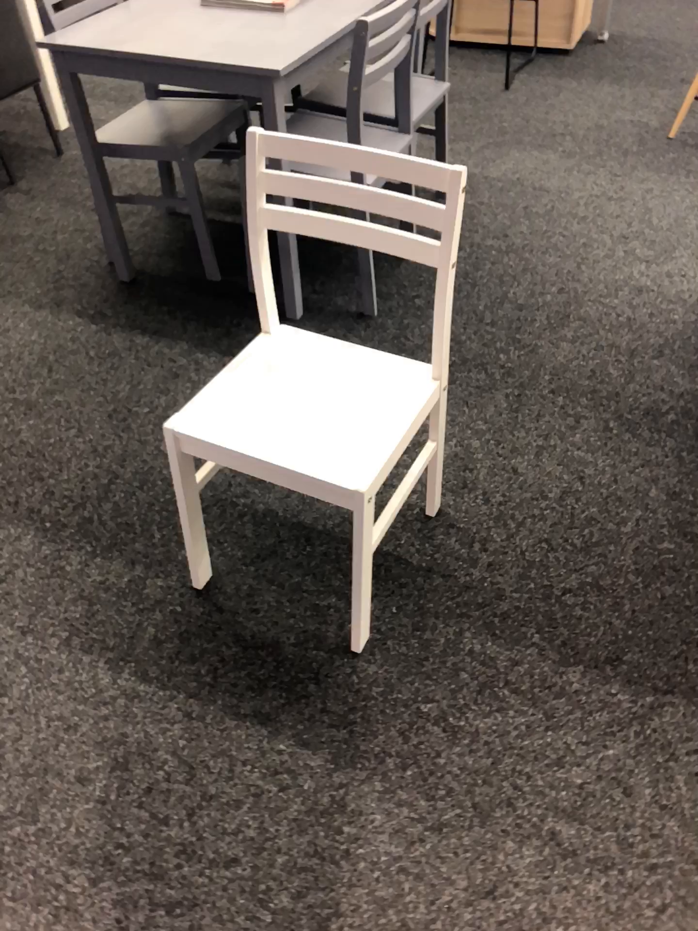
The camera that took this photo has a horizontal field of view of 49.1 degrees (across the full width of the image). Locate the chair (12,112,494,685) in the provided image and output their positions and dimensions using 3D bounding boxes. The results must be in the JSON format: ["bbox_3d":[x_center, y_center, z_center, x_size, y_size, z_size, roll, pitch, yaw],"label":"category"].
[{"bbox_3d":[-0.097,-0.112,1.354,0.500,0.766,0.503,17,47,20],"label":"chair"}]
